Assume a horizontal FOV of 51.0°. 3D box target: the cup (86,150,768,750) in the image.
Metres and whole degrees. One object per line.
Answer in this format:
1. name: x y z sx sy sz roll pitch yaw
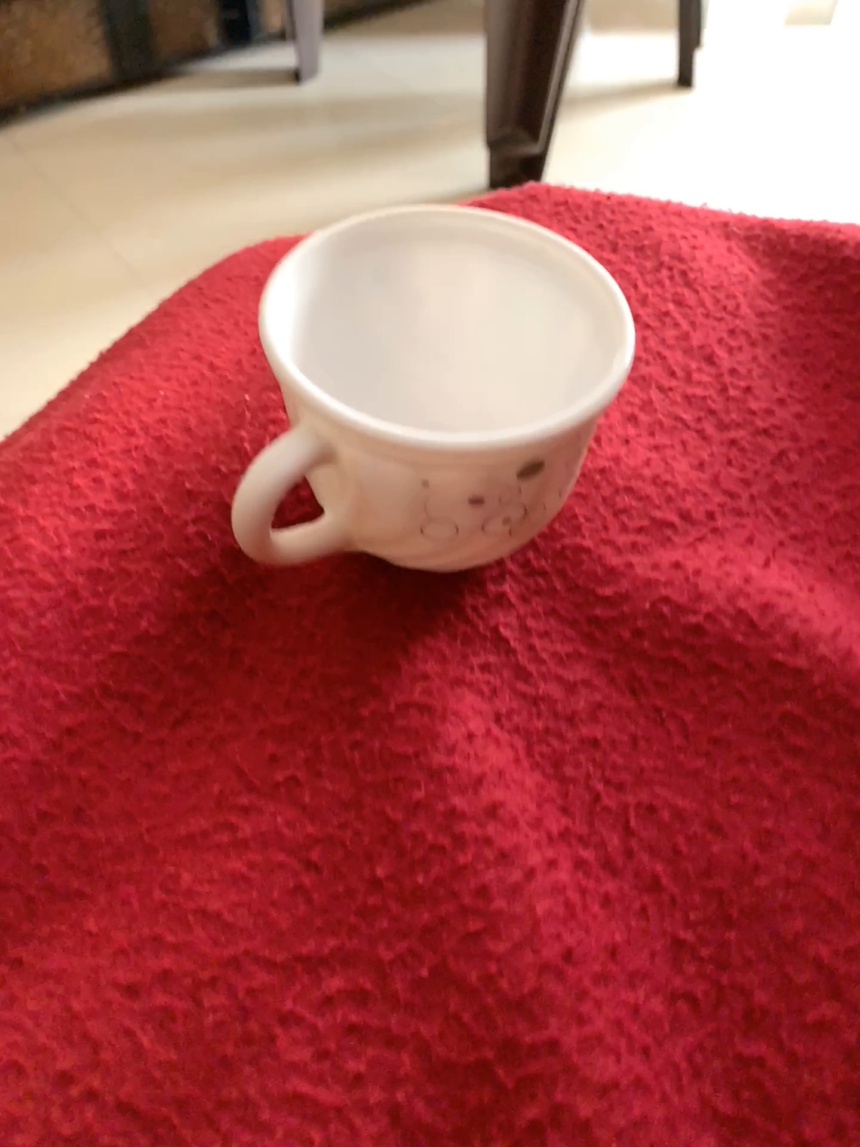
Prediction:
1. cup: 0.001 -0.033 0.188 0.100 0.050 0.080 -38 60 -26
